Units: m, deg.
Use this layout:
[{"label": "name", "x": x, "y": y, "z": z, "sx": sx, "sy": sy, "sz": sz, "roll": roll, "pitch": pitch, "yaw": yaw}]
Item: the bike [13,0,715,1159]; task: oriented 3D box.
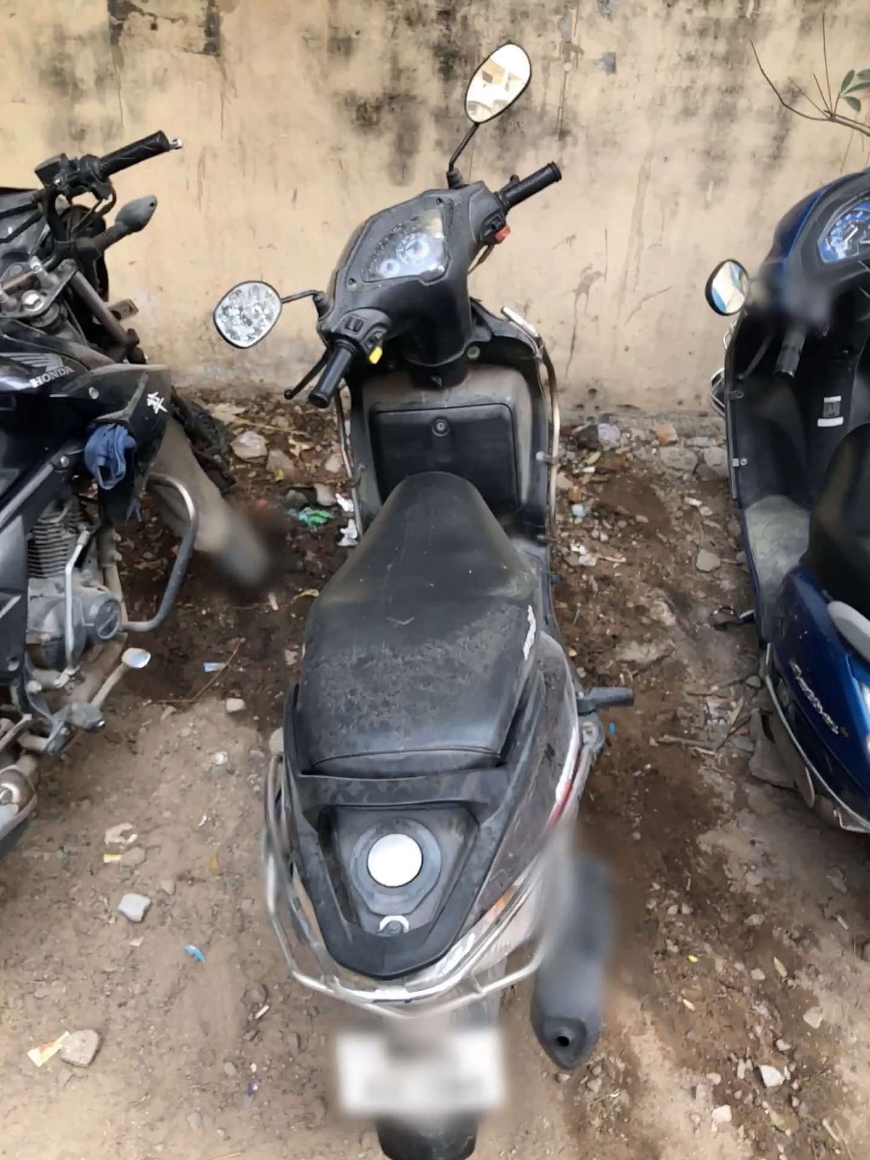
[{"label": "bike", "x": -0.149, "y": -0.156, "z": 1.613, "sx": 0.527, "sy": 1.113, "sz": 1.569, "roll": 0, "pitch": 40, "yaw": -6}]
